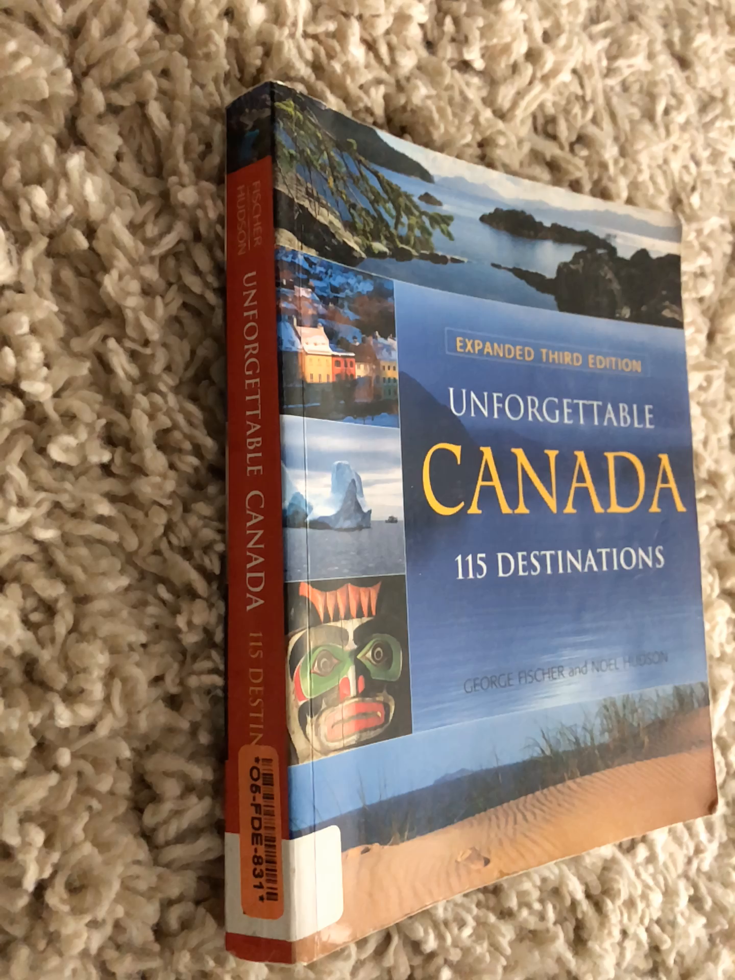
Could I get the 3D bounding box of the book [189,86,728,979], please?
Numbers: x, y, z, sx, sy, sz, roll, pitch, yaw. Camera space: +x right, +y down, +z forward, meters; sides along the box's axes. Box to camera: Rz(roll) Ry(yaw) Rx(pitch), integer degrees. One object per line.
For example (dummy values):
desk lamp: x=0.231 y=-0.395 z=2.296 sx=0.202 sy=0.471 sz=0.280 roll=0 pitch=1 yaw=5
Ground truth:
book: x=0.042 y=0.011 z=0.287 sx=0.201 sy=0.040 sz=0.234 roll=2 pitch=85 yaw=-34
